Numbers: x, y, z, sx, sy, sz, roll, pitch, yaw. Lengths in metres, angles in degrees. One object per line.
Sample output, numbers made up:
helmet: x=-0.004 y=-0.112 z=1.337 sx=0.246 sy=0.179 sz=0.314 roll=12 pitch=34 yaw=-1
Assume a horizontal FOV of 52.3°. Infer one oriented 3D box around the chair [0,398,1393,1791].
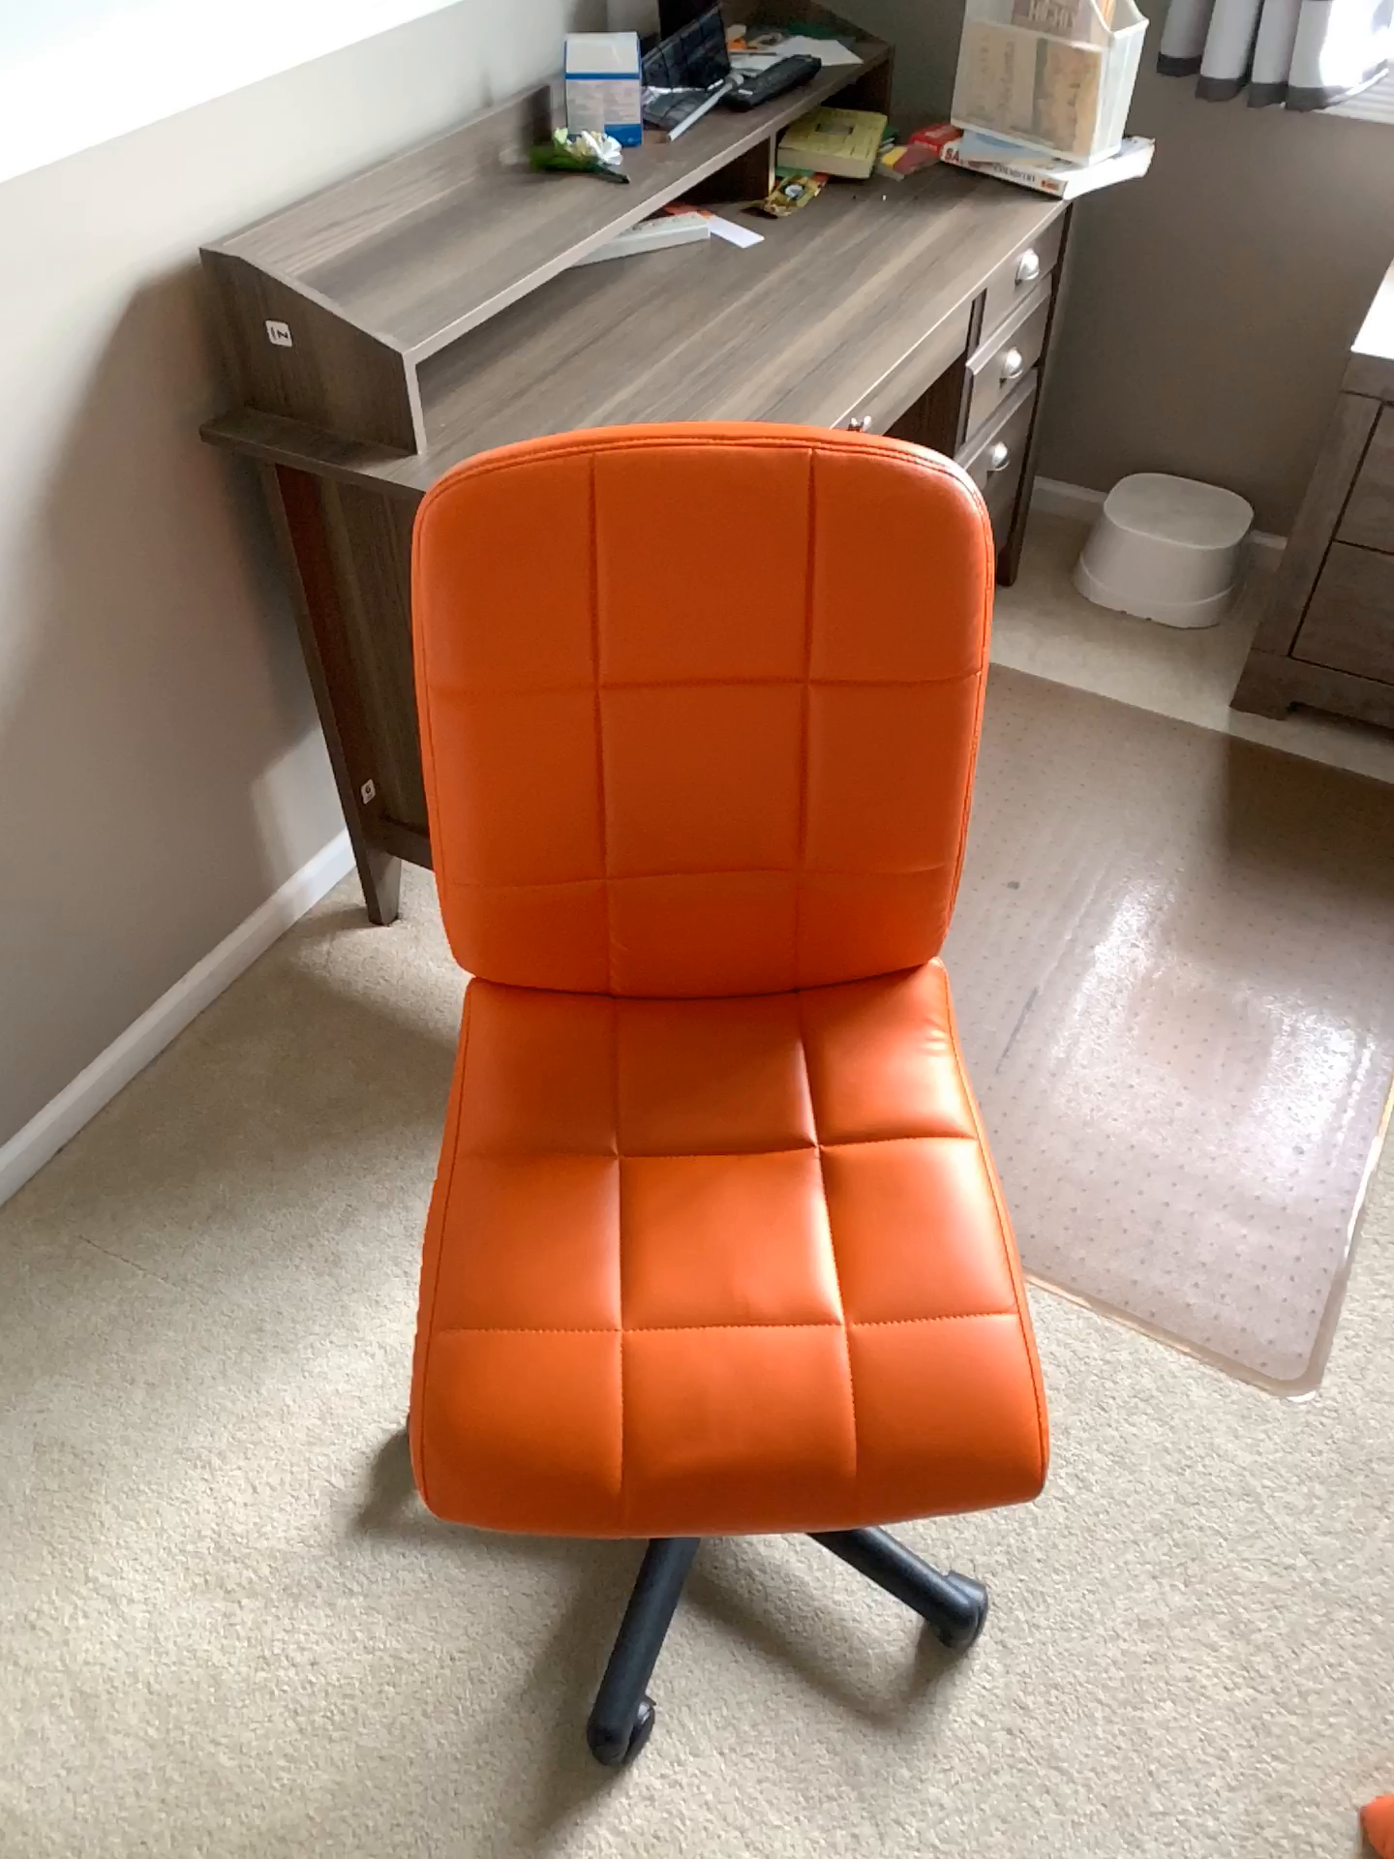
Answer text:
chair: x=0.014 y=0.170 z=1.100 sx=0.613 sy=0.902 sz=0.621 roll=-2 pitch=45 yaw=-3
